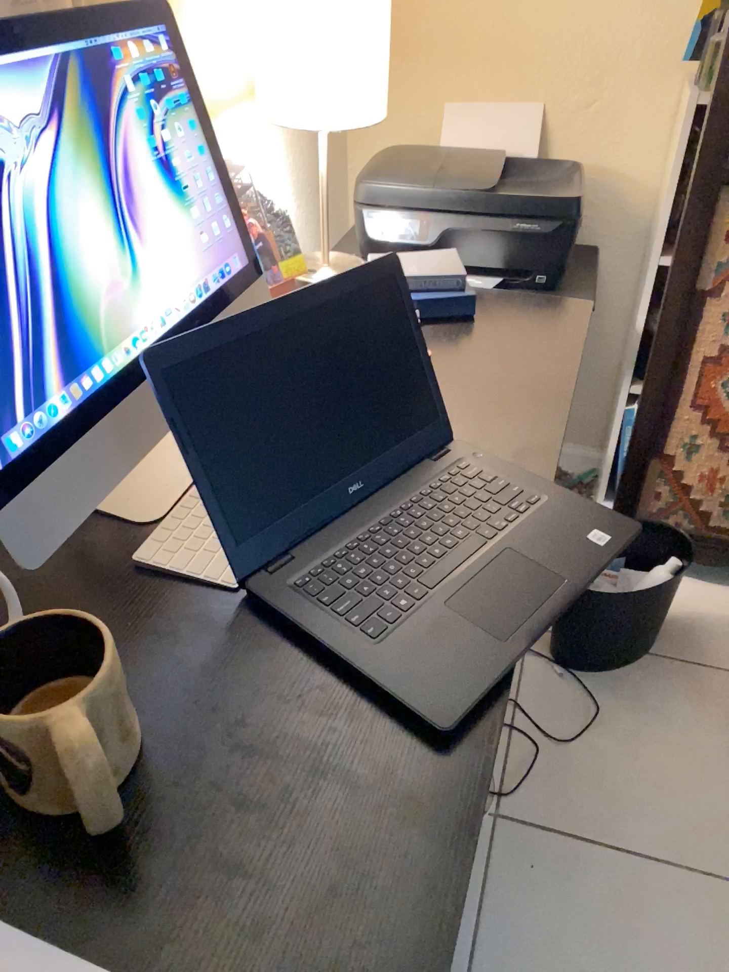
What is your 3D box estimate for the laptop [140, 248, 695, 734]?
[{"bbox_3d":[0.049,-0.038,0.707,0.343,0.206,0.337,29,46,33],"label":"laptop"}]
